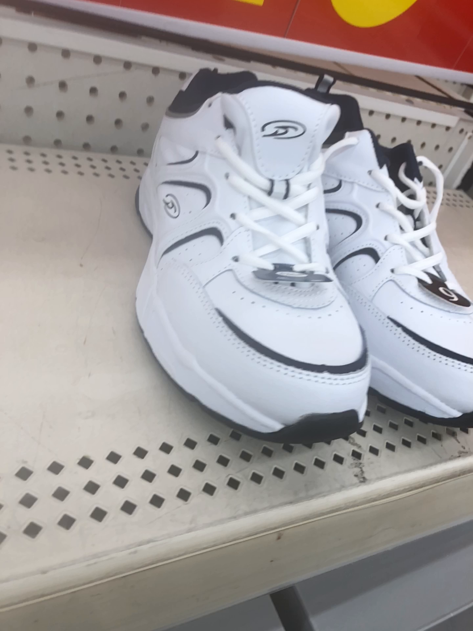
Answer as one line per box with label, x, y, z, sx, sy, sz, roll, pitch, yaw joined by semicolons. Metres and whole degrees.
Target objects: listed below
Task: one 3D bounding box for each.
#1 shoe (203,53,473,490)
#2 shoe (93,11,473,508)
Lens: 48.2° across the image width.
shoe;0.082;-0.047;0.334;0.110;0.119;0.260;0;42;-27
shoe;-0.004;-0.051;0.290;0.110;0.119;0.261;3;41;-23
